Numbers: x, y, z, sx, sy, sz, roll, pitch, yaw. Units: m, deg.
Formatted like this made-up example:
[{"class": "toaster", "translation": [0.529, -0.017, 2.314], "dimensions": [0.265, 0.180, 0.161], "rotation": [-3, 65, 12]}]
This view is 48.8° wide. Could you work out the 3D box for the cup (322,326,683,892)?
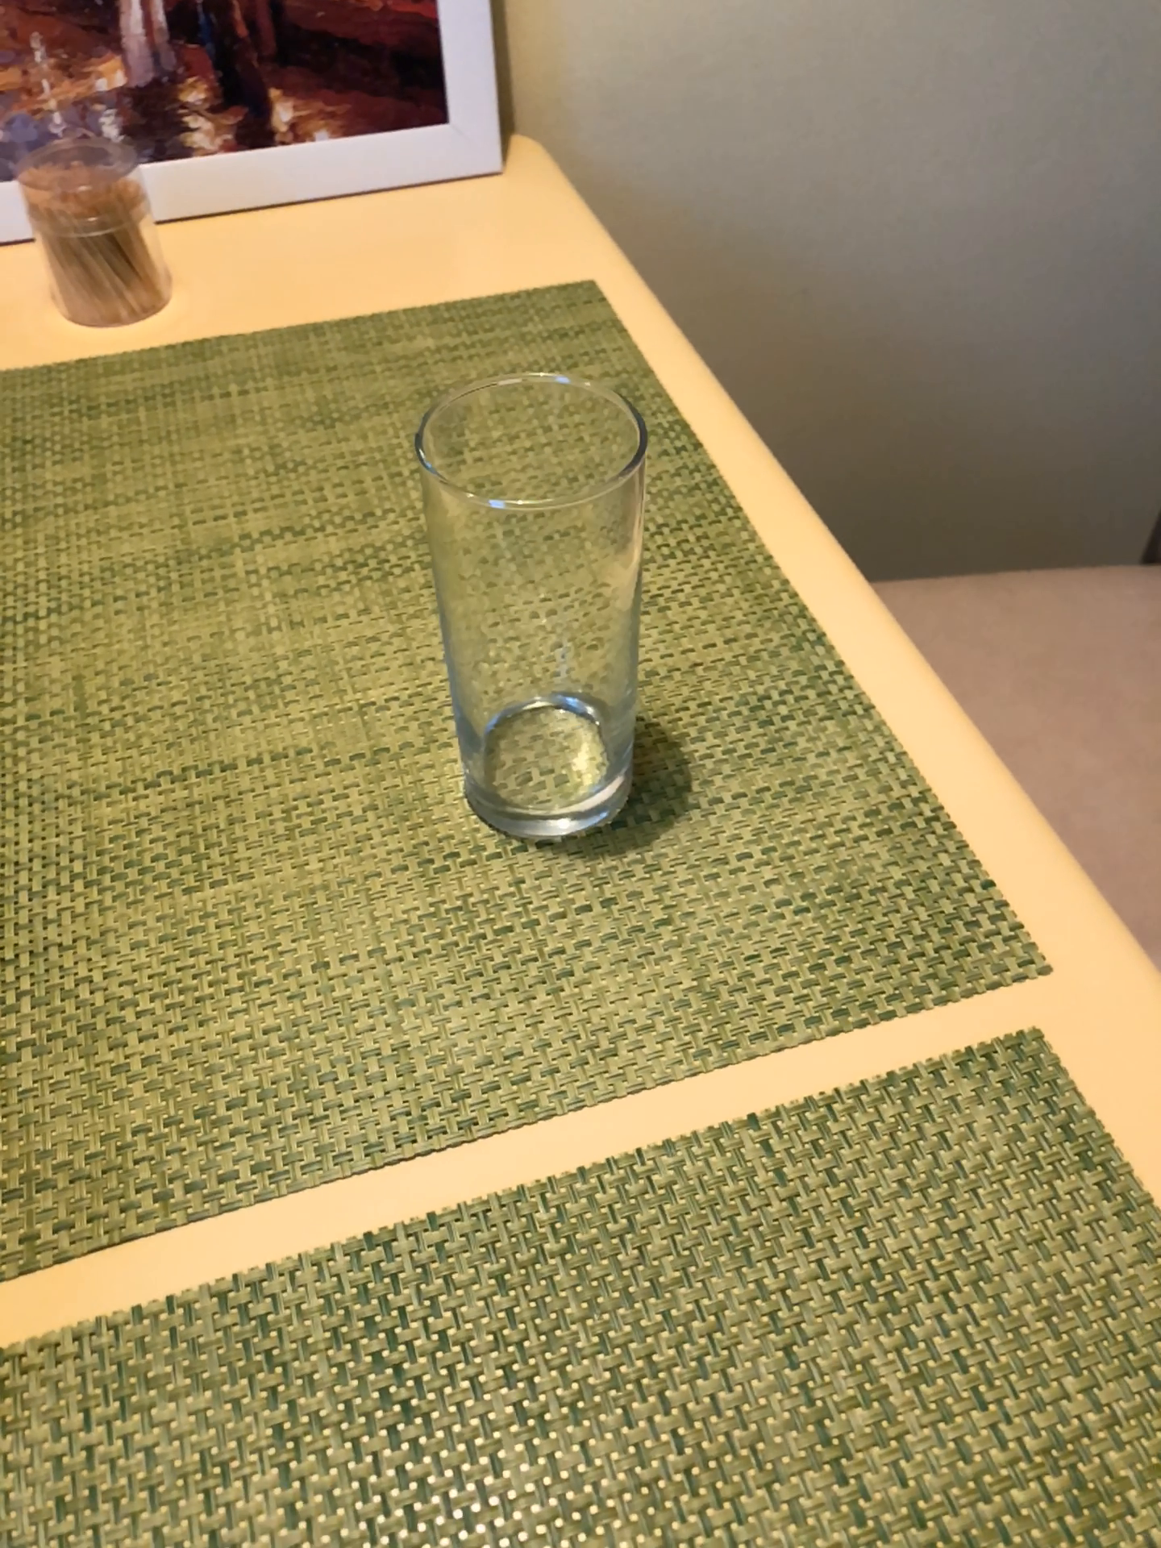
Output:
[{"class": "cup", "translation": [-0.022, -0.045, 0.383], "dimensions": [0.070, 0.139, 0.070], "rotation": [0, 47, 0]}]
